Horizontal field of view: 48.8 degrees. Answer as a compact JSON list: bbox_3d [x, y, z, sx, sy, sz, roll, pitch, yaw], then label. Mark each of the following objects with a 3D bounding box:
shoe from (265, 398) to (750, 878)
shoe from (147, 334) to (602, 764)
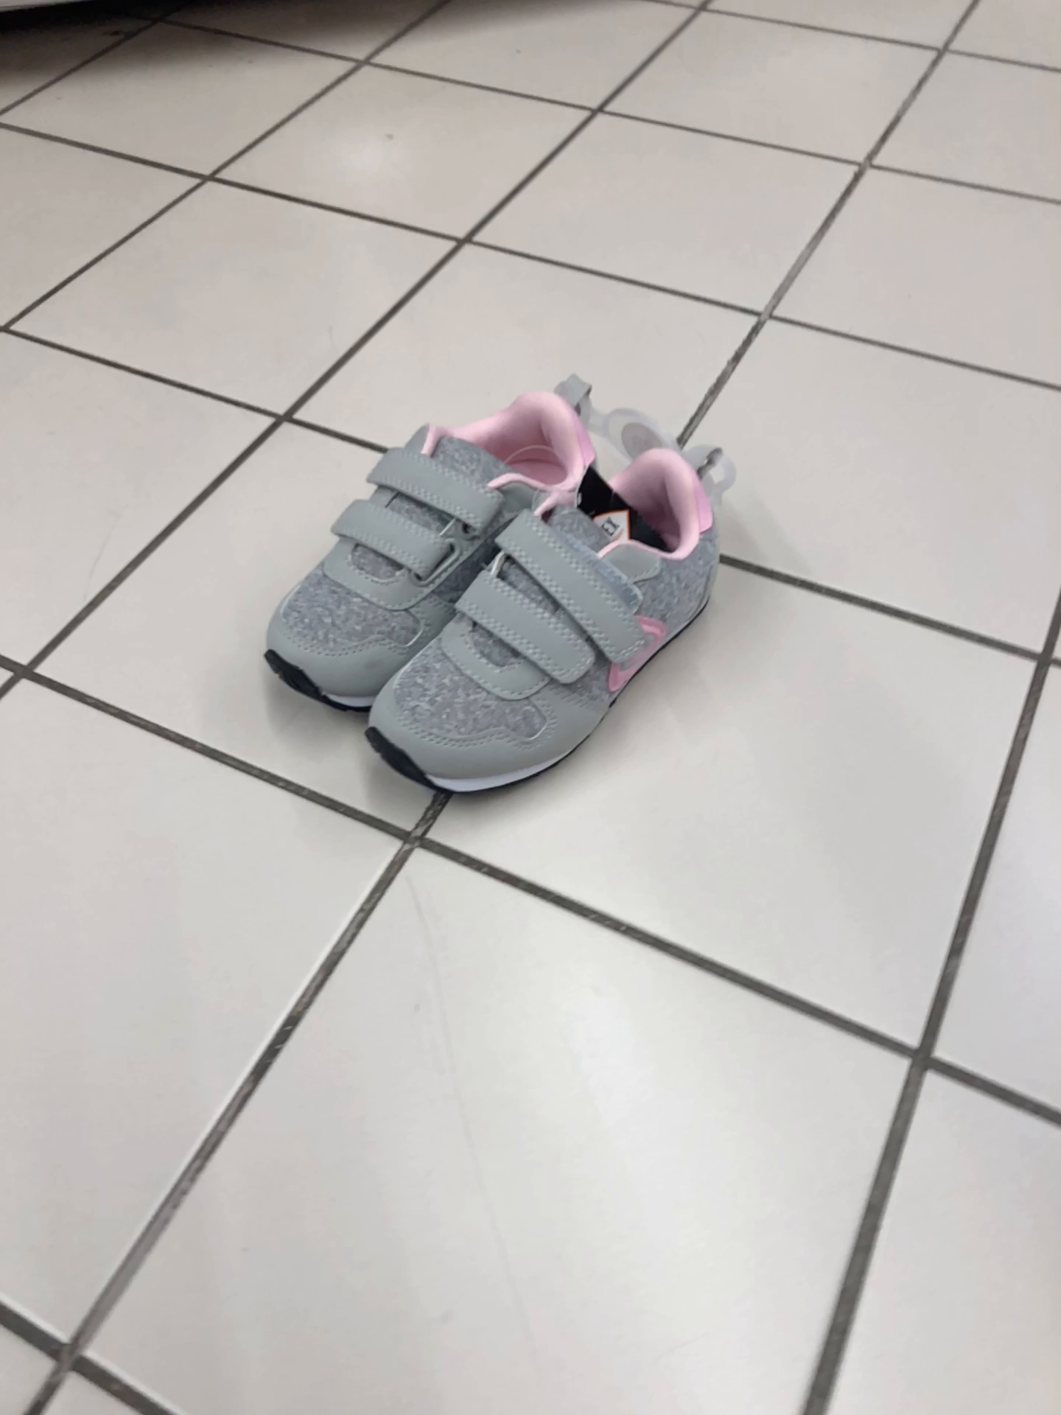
[{"bbox_3d":[-0.003,-0.034,0.469,0.080,0.080,0.181,34,59,27],"label":"shoe"},{"bbox_3d":[-0.056,-0.074,0.496,0.080,0.070,0.181,31,58,25],"label":"shoe"}]
